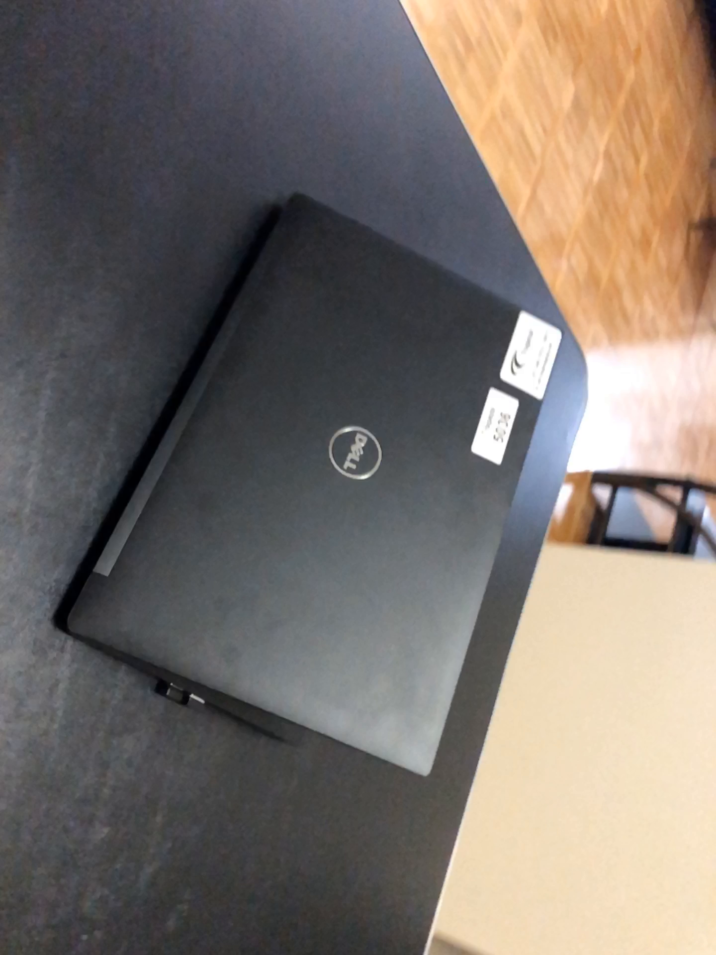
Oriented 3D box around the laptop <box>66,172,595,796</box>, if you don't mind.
[{"bbox_3d":[0.013,0.006,0.525,0.221,0.142,0.319,45,58,-42],"label":"laptop"}]
